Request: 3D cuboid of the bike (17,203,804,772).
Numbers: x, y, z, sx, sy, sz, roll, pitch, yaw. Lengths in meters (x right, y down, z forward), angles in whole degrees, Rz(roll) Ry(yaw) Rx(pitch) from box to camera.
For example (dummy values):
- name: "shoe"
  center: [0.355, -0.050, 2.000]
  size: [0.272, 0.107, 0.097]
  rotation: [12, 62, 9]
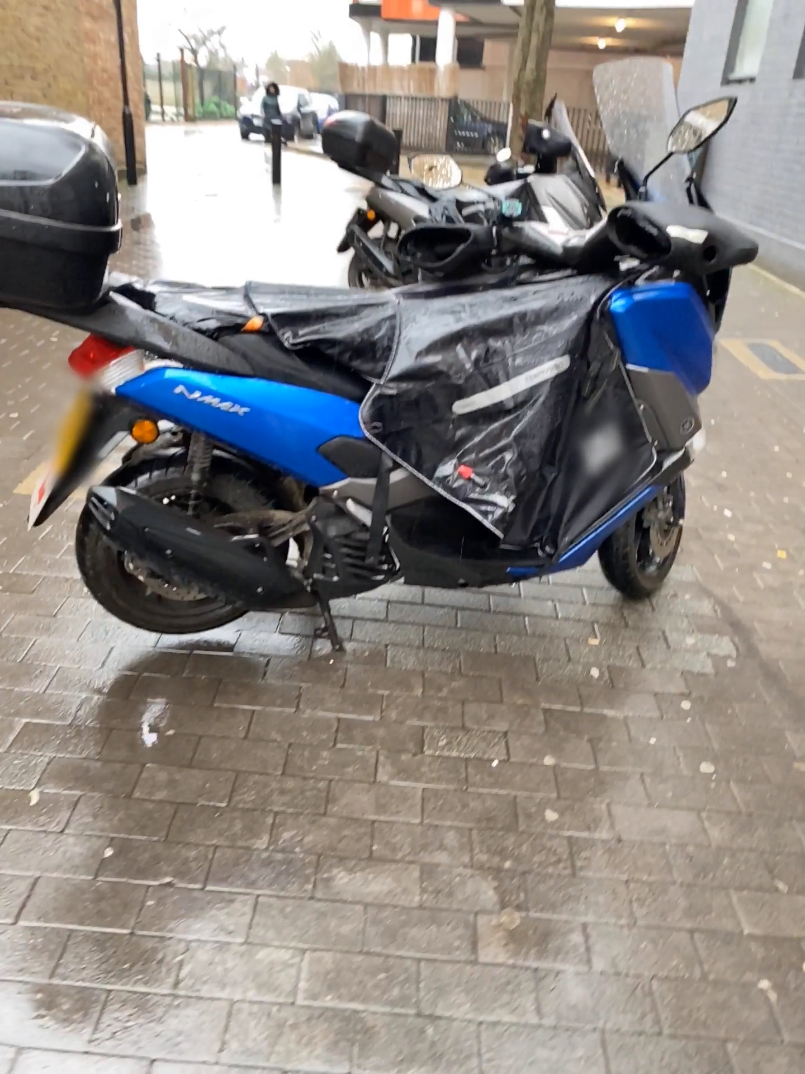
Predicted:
- name: "bike"
  center: [0.099, -0.222, 2.032]
  size: [1.733, 0.998, 0.681]
  rotation: [-7, 28, -21]
